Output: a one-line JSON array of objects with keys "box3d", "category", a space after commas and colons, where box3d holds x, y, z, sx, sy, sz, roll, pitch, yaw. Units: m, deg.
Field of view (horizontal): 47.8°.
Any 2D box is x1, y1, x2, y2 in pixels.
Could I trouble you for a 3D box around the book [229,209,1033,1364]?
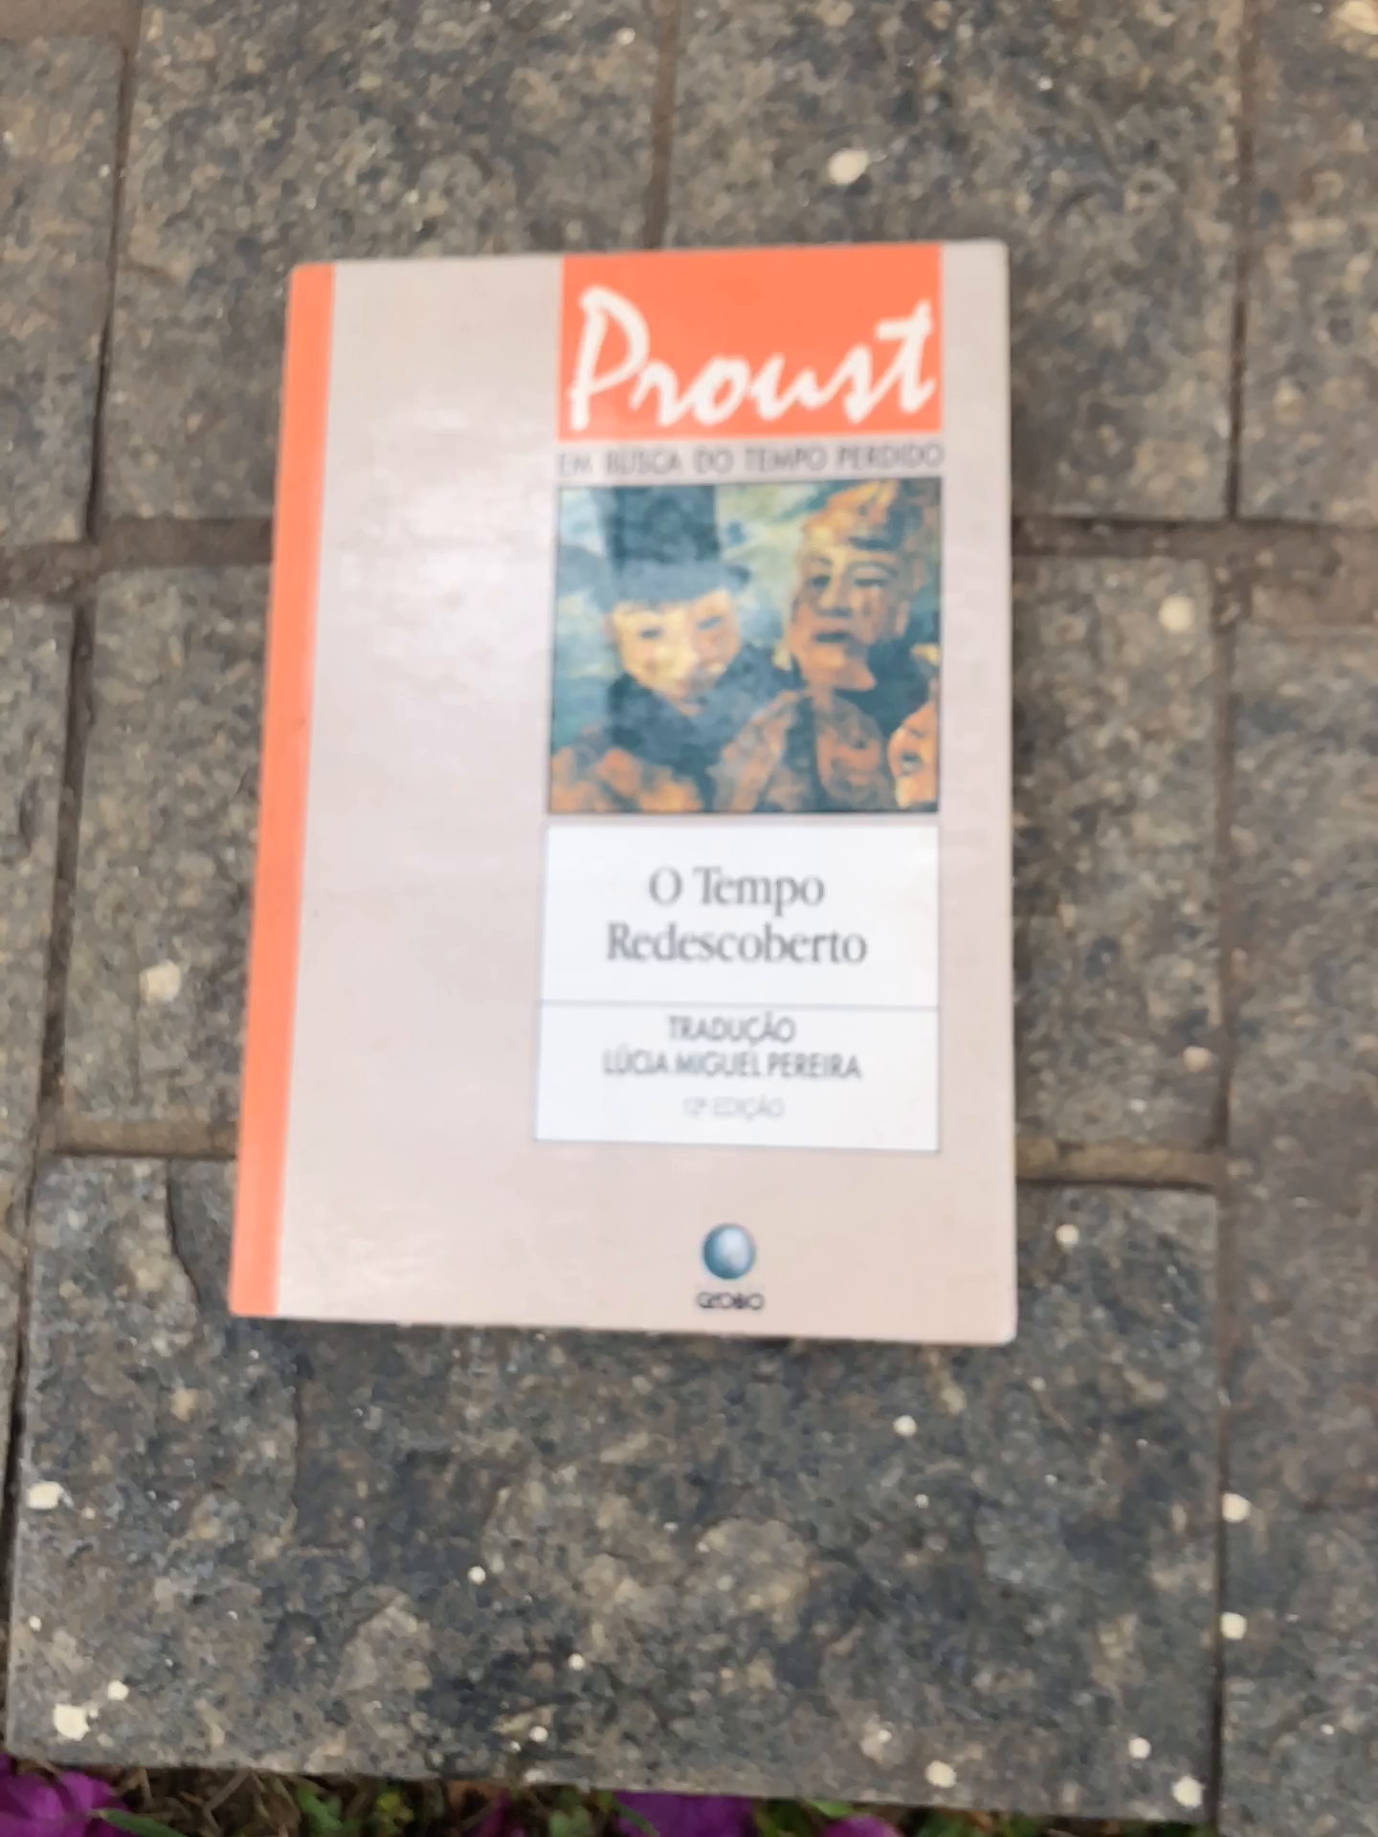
[{"box3d": [-0.008, -0.026, 0.280, 0.134, 0.023, 0.199, 1, 83, 5], "category": "book"}]
